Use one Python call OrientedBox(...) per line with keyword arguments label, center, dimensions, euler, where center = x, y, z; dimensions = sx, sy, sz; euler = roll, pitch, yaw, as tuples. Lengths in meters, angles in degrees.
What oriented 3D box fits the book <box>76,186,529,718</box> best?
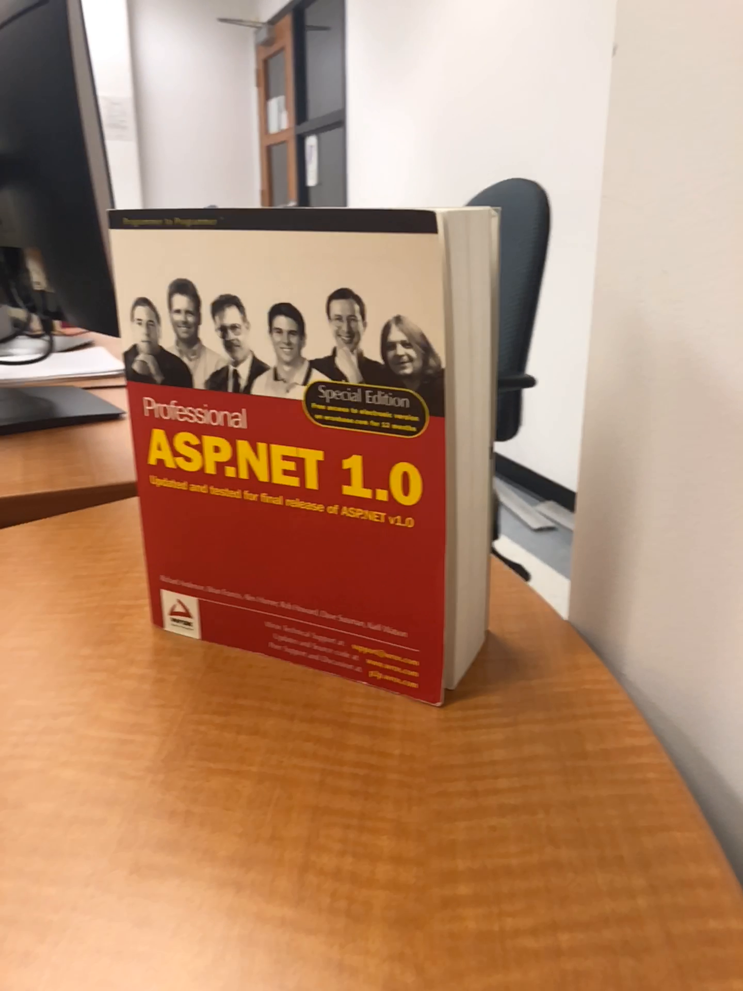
OrientedBox(label="book", center=(-0.038, -0.029, 0.407), dimensions=(0.210, 0.229, 0.050), euler=(9, 21, 26))
